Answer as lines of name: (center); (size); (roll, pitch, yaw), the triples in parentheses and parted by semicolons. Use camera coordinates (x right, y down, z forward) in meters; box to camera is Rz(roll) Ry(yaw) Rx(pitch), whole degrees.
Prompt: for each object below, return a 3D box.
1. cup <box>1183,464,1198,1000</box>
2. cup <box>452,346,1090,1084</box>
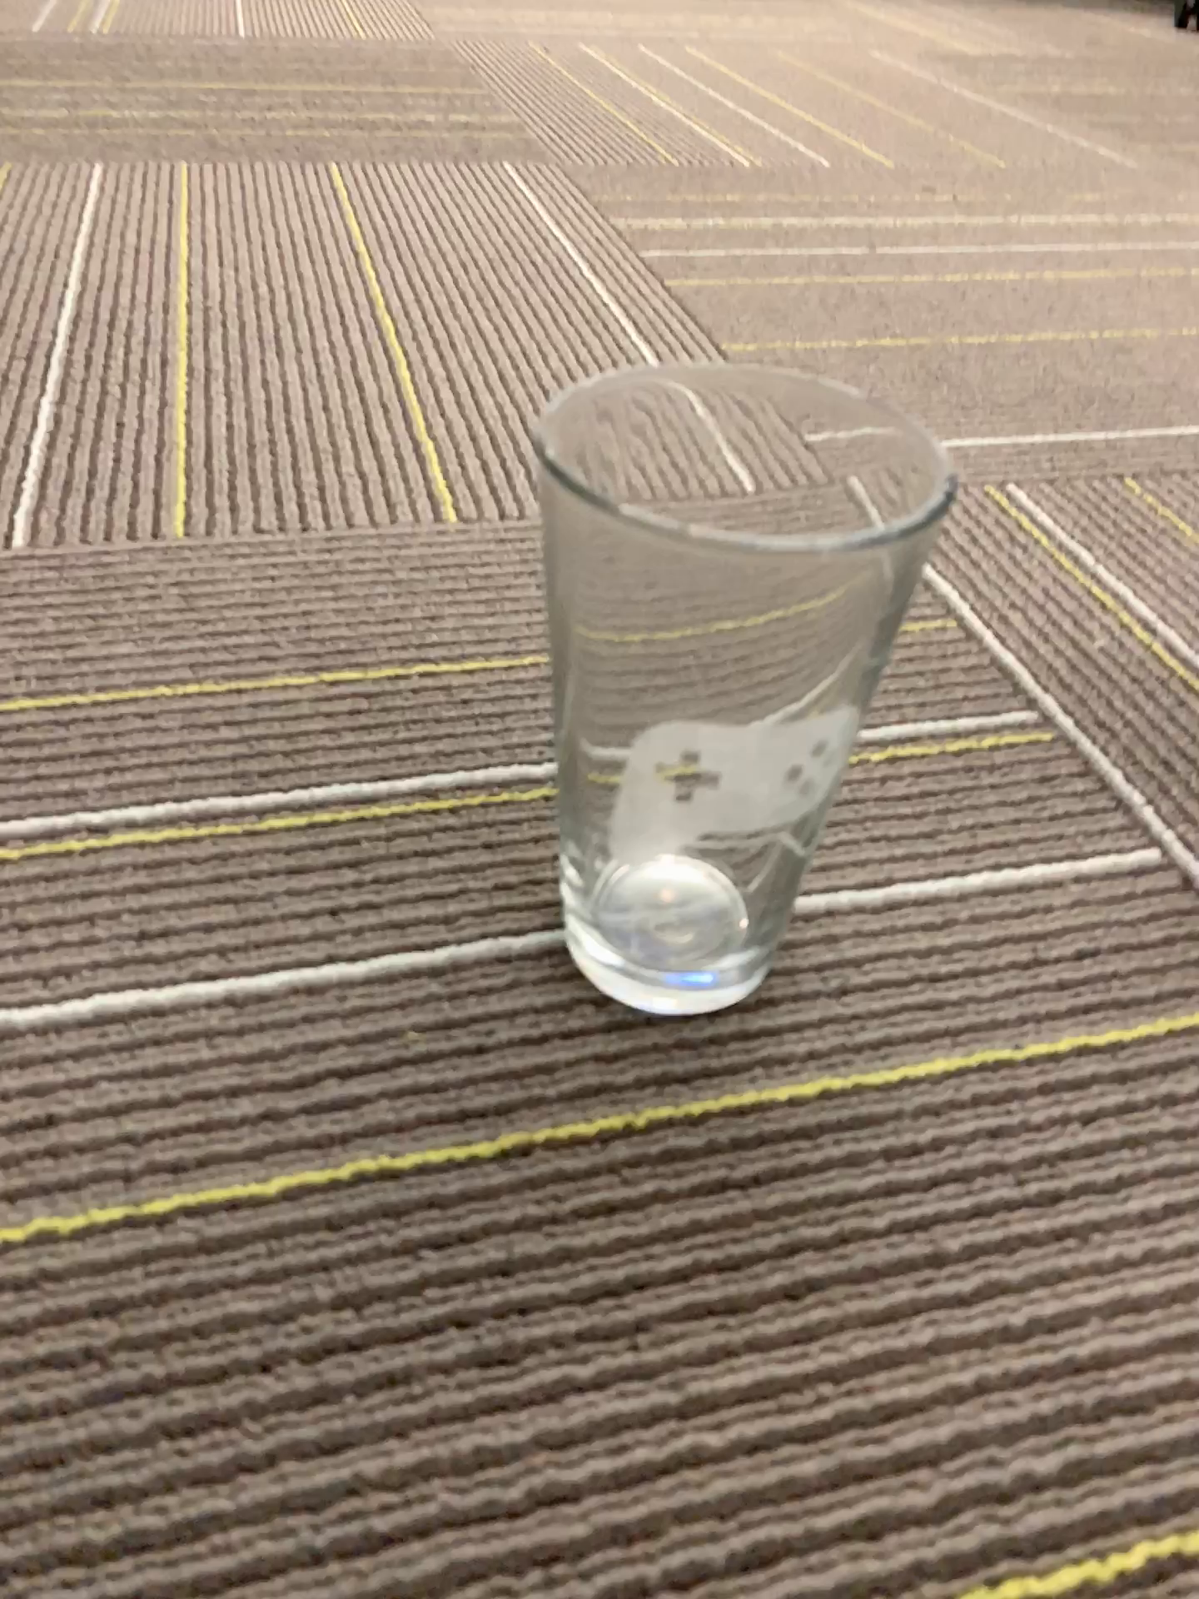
cup: (0.233, -0.018, 0.336); (0.070, 0.119, 0.080); (-3, 40, -8)
cup: (0.026, -0.022, 0.274); (0.090, 0.119, 0.090); (2, 39, -2)
